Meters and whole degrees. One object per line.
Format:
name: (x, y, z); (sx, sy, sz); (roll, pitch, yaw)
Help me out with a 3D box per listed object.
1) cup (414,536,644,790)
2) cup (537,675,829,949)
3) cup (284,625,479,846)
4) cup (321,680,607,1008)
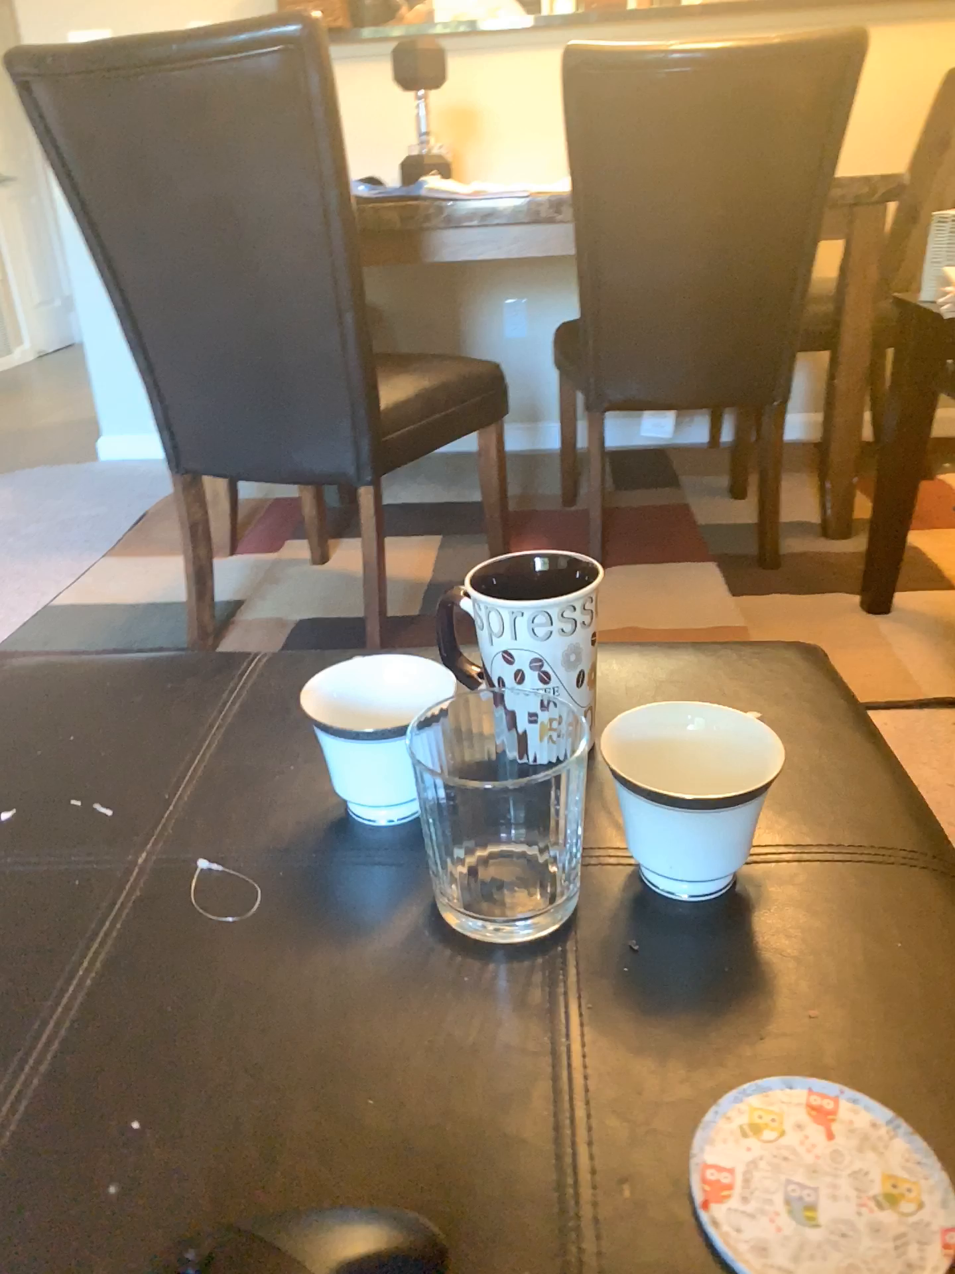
cup: (0.035, 0.011, 0.619); (0.100, 0.109, 0.100); (-3, 25, 1)
cup: (0.107, 0.083, 0.509); (0.100, 0.060, 0.120); (17, 32, 36)
cup: (-0.059, 0.053, 0.576); (0.090, 0.070, 0.111); (-10, 26, -13)
cup: (-0.003, 0.099, 0.502); (0.100, 0.099, 0.100); (-3, 25, 1)
